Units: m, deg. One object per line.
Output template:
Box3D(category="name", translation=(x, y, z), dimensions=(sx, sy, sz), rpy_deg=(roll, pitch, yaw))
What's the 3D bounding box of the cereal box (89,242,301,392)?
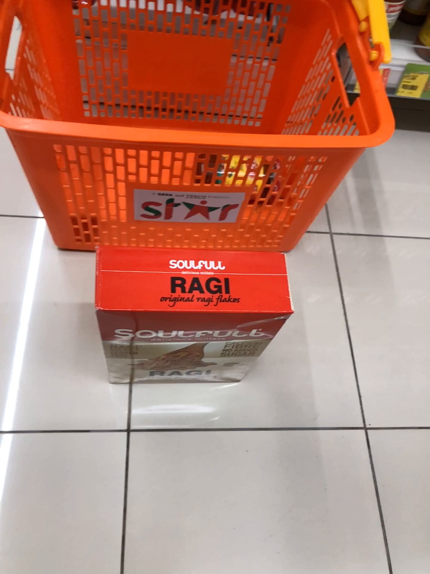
Box3D(category="cereal box", translation=(-0.032, 0.046, 0.498), dimensions=(0.170, 0.239, 0.060), rpy_deg=(1, 62, -9))
